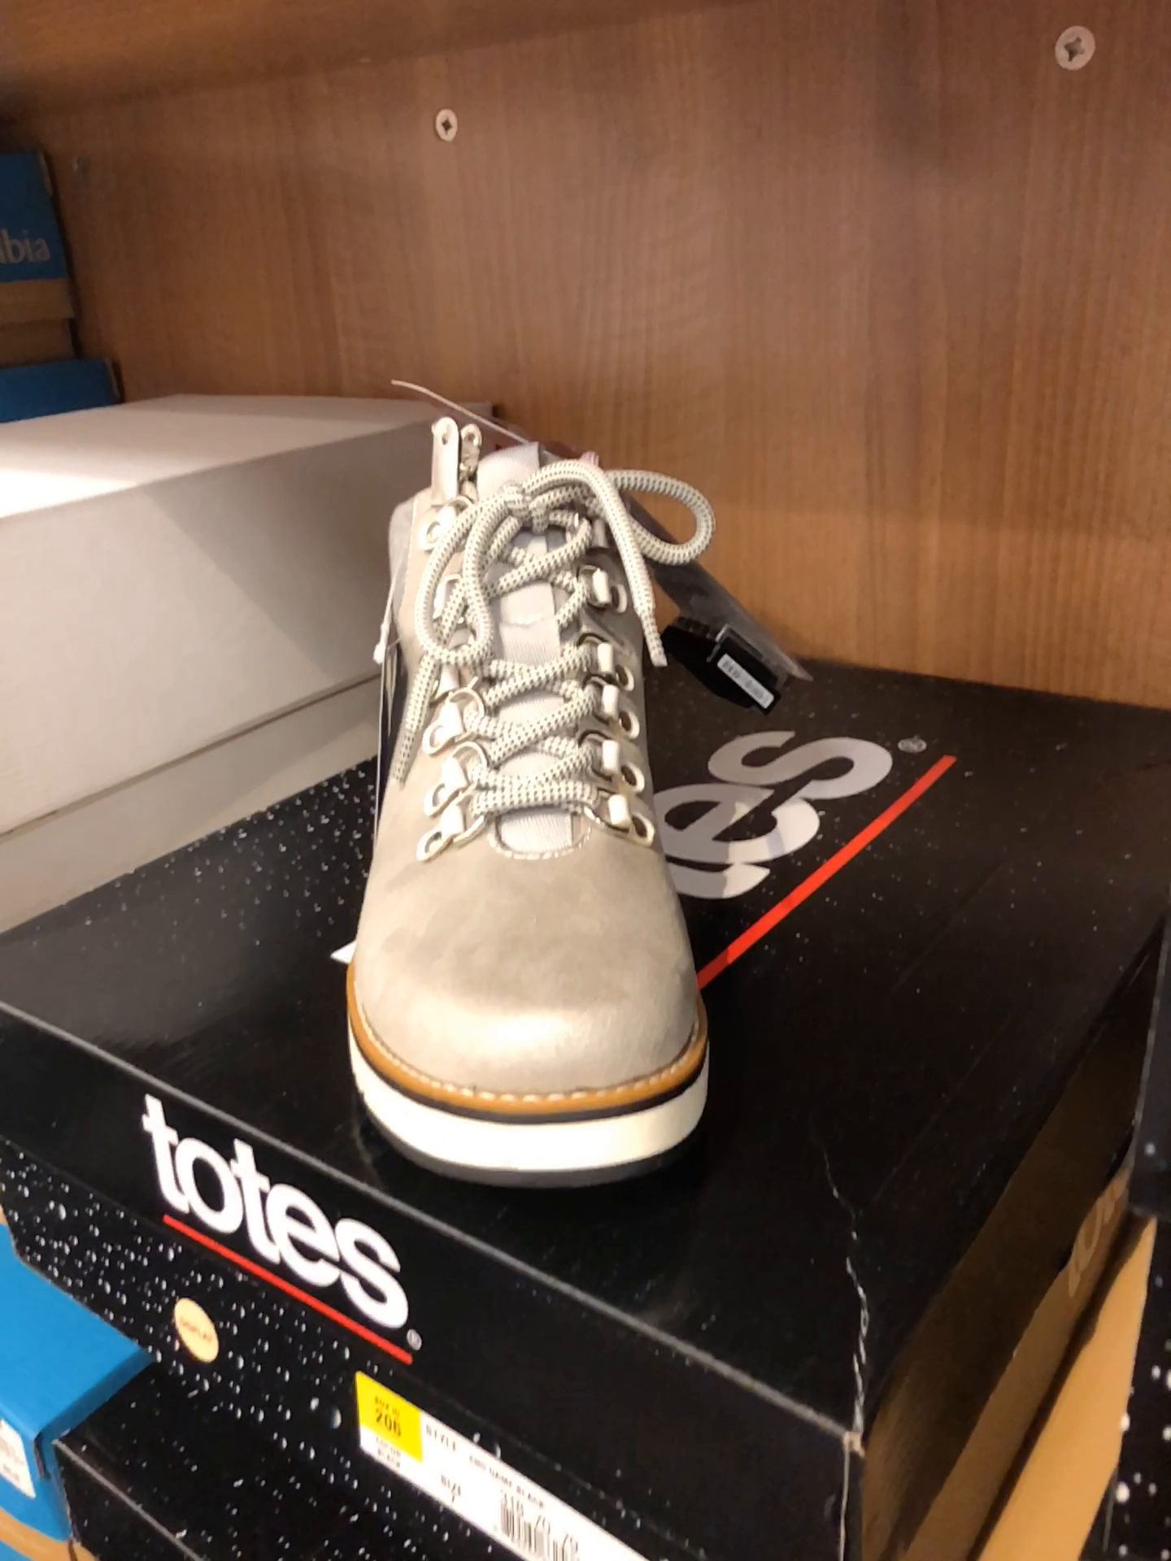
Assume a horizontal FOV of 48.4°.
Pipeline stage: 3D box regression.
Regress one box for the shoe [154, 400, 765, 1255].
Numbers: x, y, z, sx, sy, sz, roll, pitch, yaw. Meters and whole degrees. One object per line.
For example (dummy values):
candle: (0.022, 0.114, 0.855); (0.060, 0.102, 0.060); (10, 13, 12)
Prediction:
shoe: (-0.026, -0.015, 0.343); (0.099, 0.134, 0.229); (-5, 23, -3)
